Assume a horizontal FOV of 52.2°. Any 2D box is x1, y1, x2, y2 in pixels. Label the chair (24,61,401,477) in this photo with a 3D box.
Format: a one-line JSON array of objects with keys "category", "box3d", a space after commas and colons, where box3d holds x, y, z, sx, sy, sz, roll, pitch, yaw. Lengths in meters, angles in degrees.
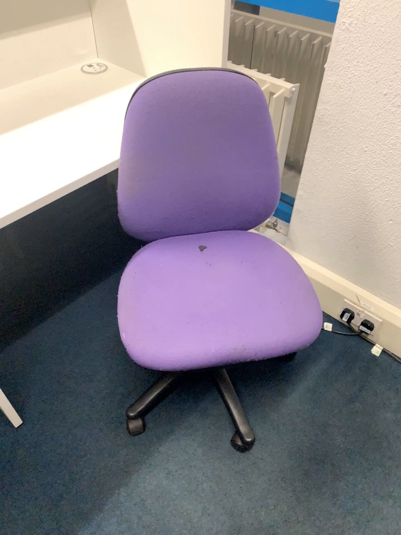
[{"category": "chair", "box3d": [0.045, 0.021, 1.123, 0.690, 0.862, 0.656, -6, 46, -7]}]
